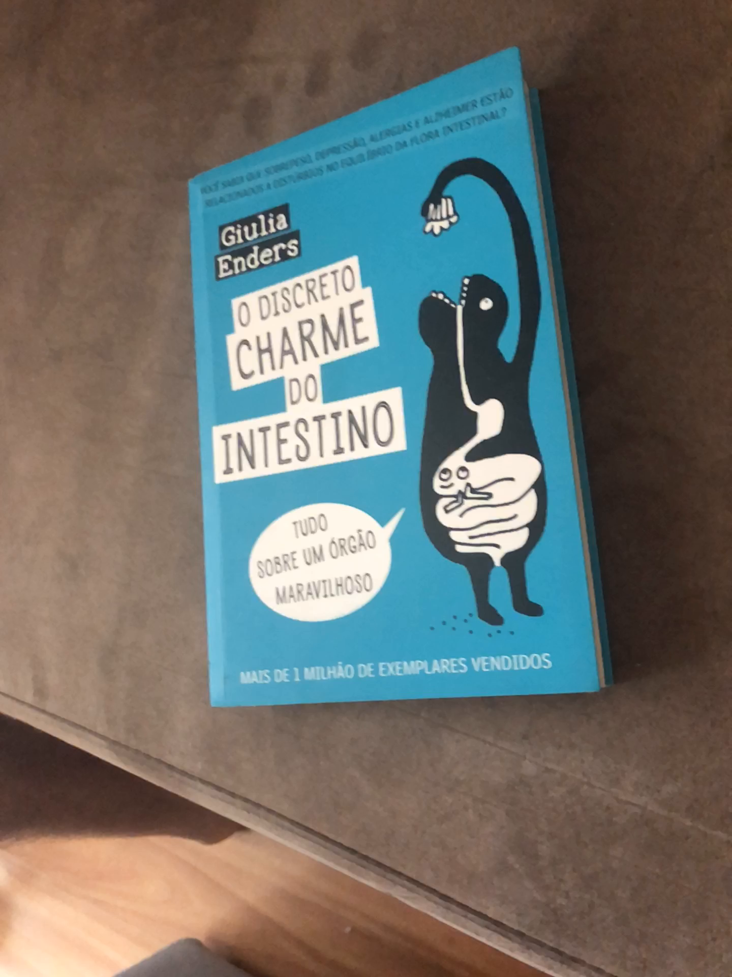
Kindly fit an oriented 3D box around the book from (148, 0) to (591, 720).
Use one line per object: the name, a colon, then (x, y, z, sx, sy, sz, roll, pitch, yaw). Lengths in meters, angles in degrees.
book: (-0.009, -0.037, 0.281, 0.140, 0.030, 0.220, -9, 78, 25)
